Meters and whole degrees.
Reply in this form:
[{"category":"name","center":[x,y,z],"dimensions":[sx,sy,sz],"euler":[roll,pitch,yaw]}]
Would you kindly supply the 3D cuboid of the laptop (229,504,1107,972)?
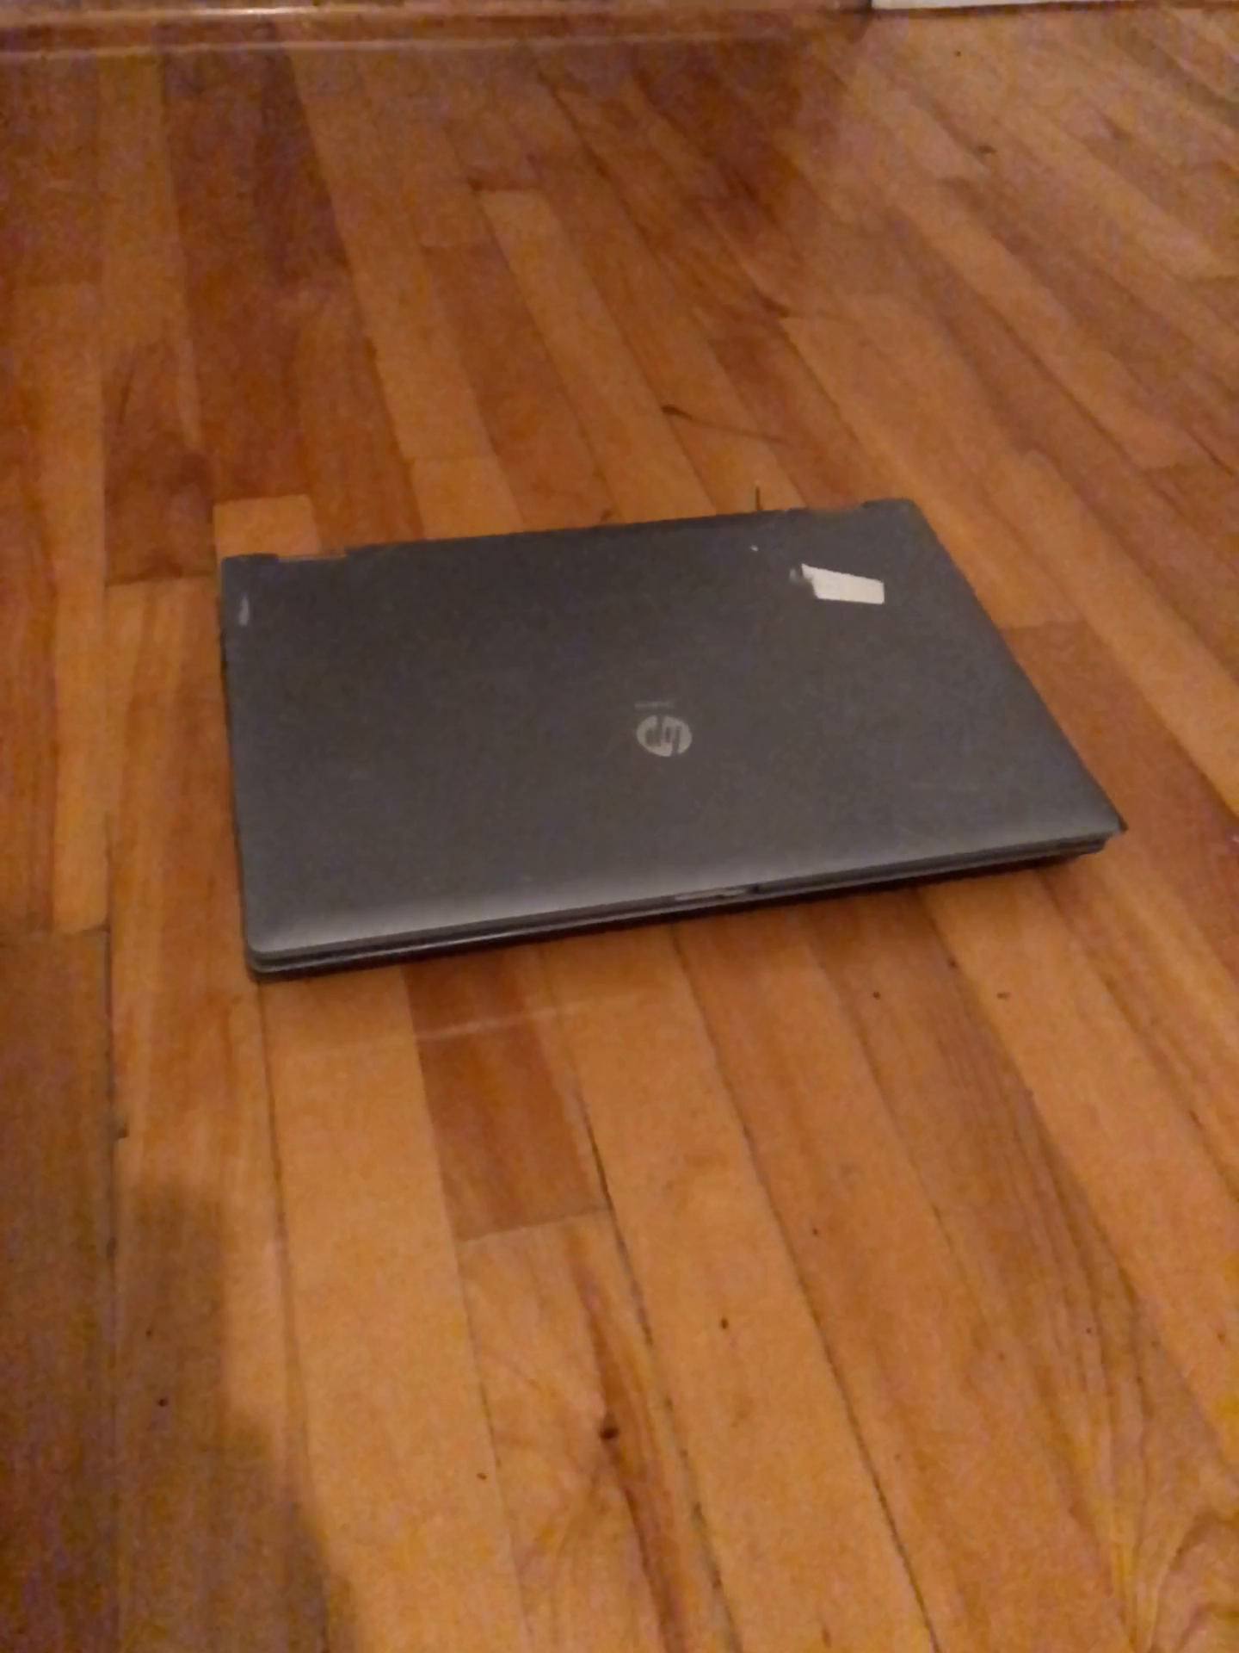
[{"category":"laptop","center":[0.010,-0.061,0.639],"dimensions":[0.363,0.010,0.241],"euler":[-8,50,-12]}]
